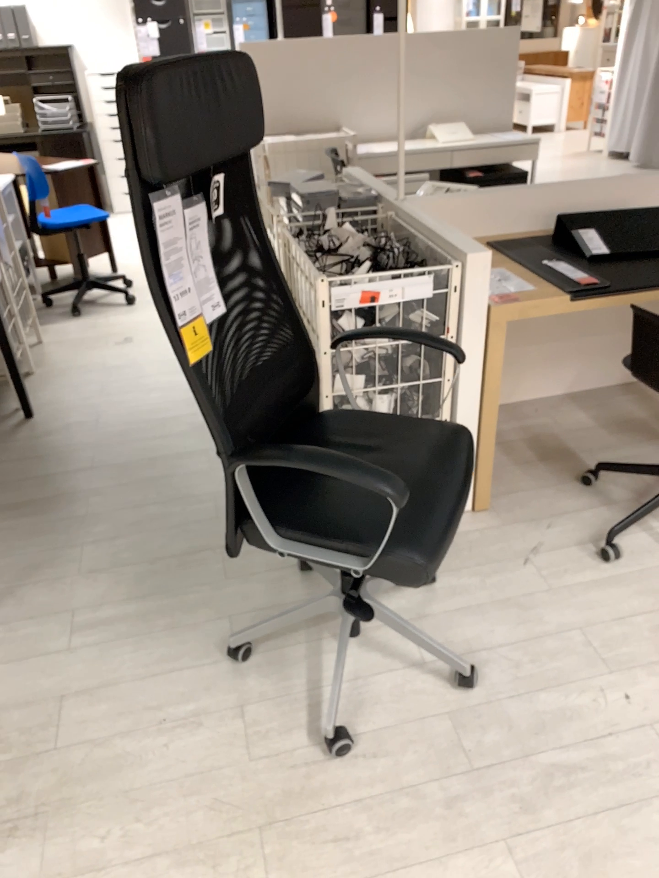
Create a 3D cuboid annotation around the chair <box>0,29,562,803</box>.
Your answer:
[{"bbox_3d":[0.032,-0.066,1.396,0.679,1.293,0.726,7,32,17],"label":"chair"}]
